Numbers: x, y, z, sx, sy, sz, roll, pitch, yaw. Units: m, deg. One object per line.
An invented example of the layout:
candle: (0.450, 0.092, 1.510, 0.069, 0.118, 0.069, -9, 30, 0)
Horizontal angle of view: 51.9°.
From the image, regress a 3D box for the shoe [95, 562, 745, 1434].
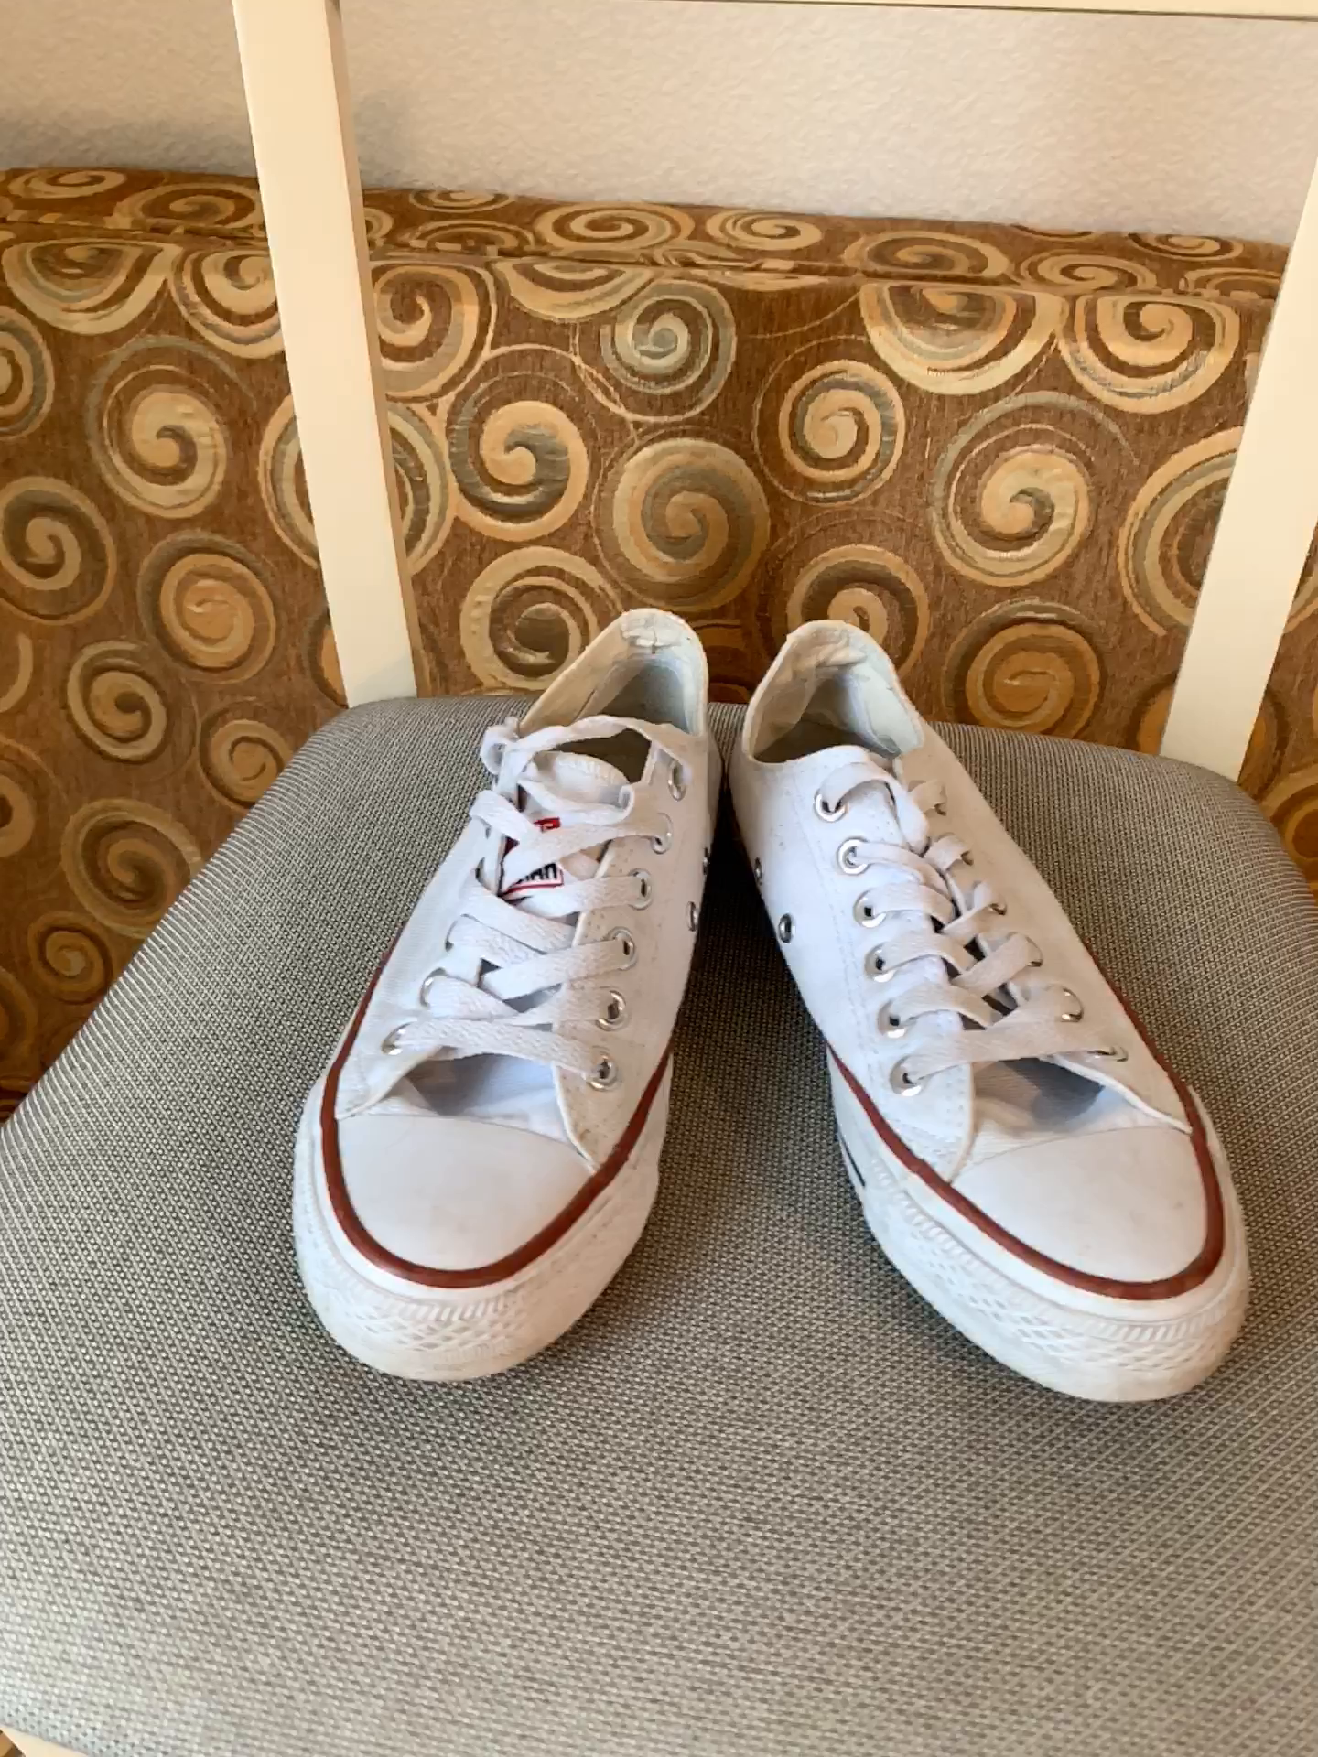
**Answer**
shoe: (-0.040, 0.011, 0.345, 0.090, 0.060, 0.221, 8, 47, 8)

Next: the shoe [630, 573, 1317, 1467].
shoe: (0.068, 0.016, 0.344, 0.090, 0.060, 0.221, -13, 48, -11)
